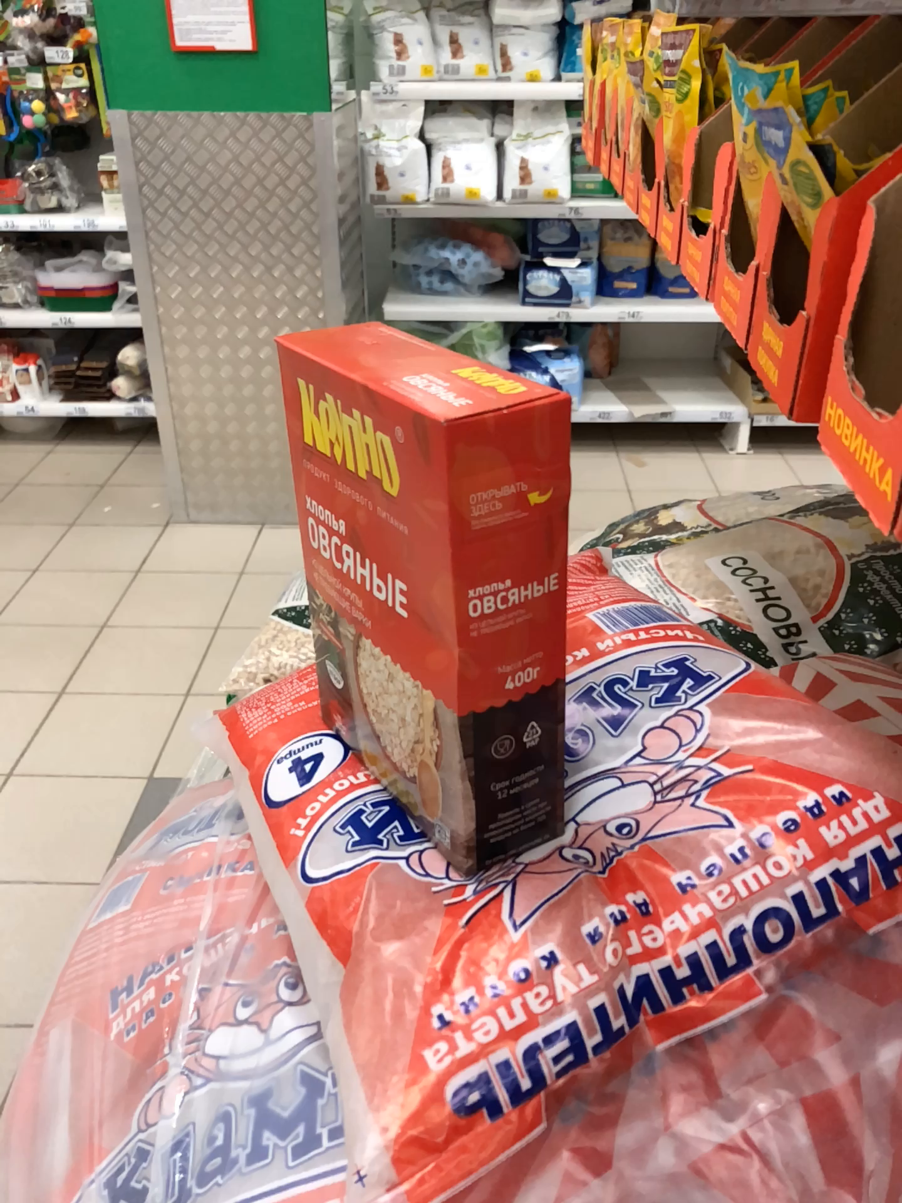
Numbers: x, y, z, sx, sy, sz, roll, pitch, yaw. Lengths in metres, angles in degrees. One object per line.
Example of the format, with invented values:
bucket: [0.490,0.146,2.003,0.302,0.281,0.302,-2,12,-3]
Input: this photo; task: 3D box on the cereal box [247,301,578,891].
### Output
cereal box: [-0.019,-0.009,0.421,0.060,0.199,0.151,-17,32,-26]
